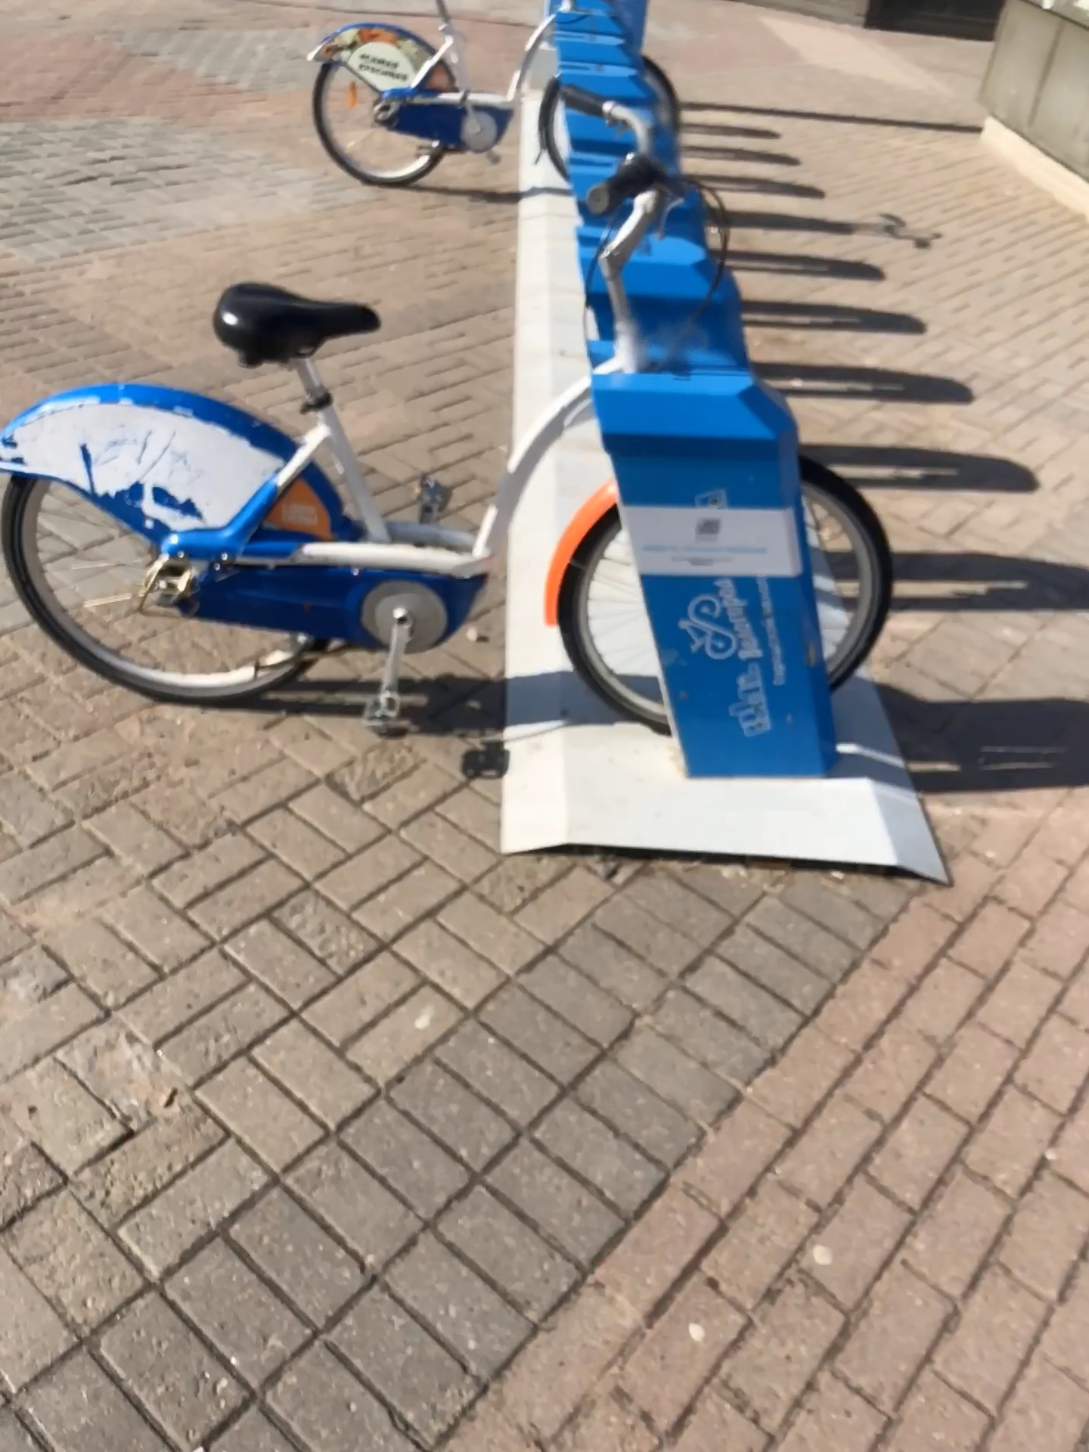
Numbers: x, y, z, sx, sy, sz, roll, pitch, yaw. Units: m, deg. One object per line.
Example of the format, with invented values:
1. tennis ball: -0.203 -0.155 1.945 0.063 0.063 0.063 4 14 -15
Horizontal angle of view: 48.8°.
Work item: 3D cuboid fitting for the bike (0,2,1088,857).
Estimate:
1. bike: -0.122 -0.479 2.085 1.674 1.233 0.686 3 37 -2
